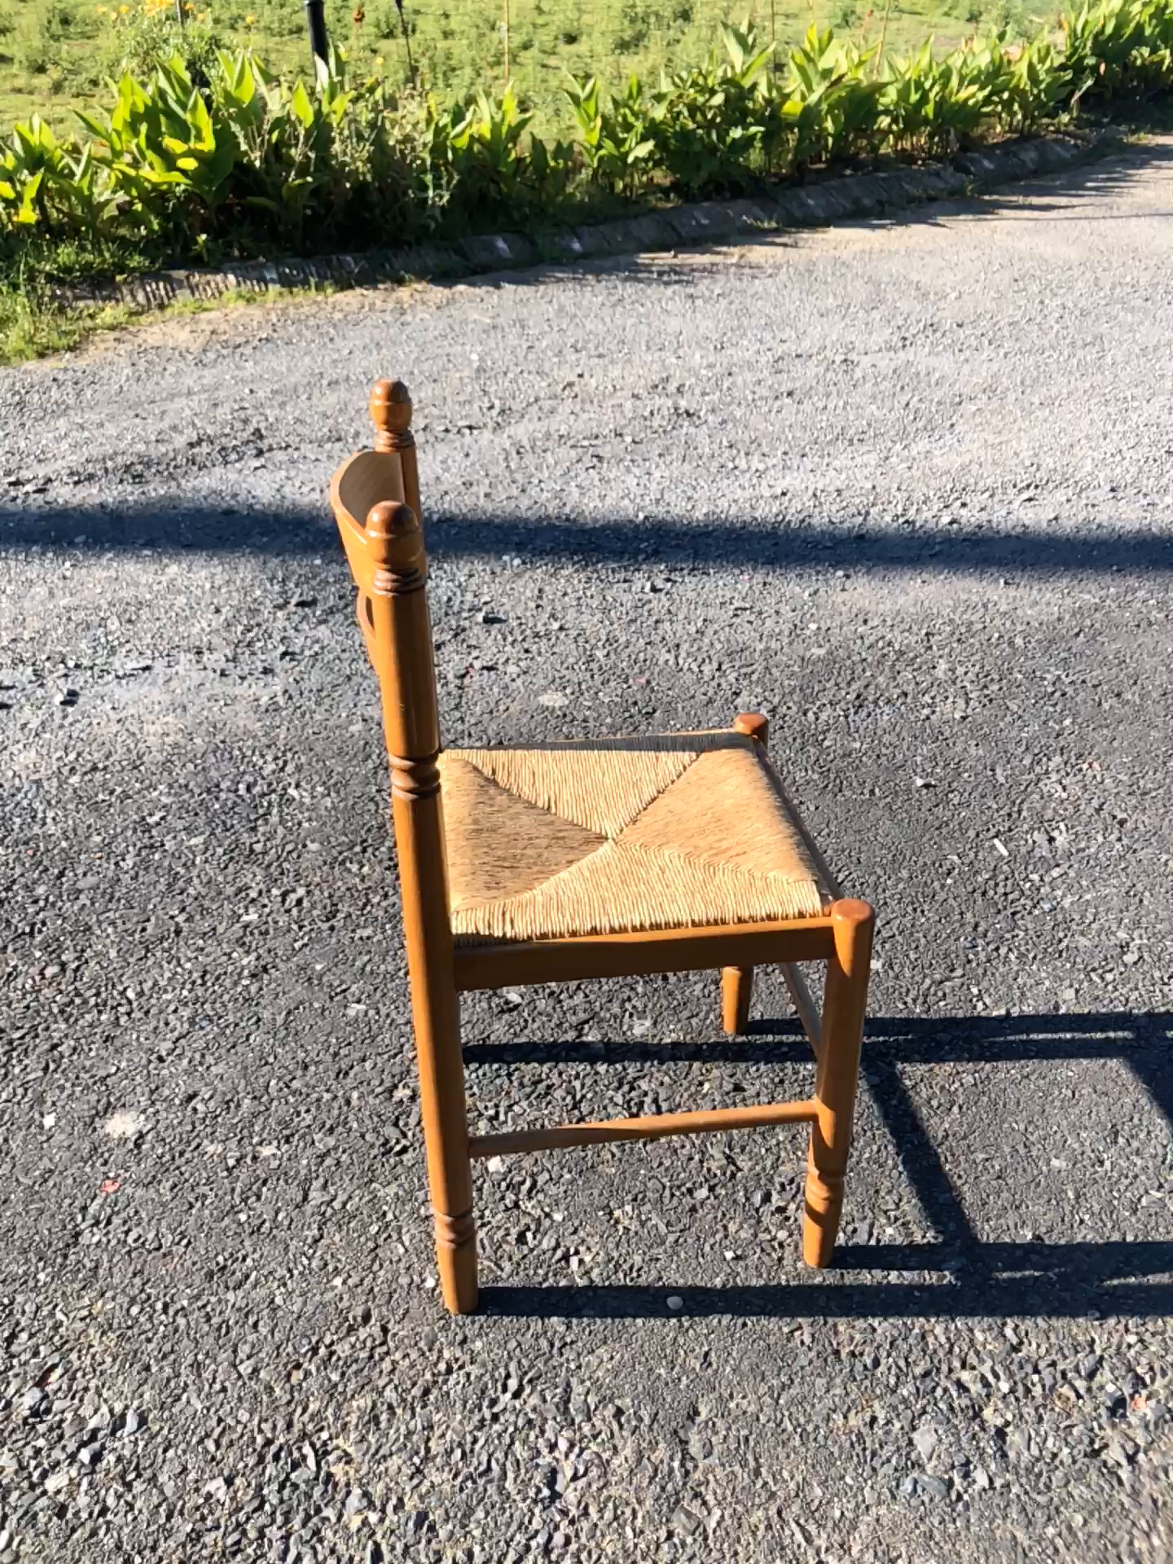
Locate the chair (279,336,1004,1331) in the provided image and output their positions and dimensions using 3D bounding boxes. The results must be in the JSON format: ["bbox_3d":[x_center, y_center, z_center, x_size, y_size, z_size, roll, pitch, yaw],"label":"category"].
[{"bbox_3d":[0.025,0.039,1.269,0.490,0.795,0.493,-6,31,-5],"label":"chair"}]
